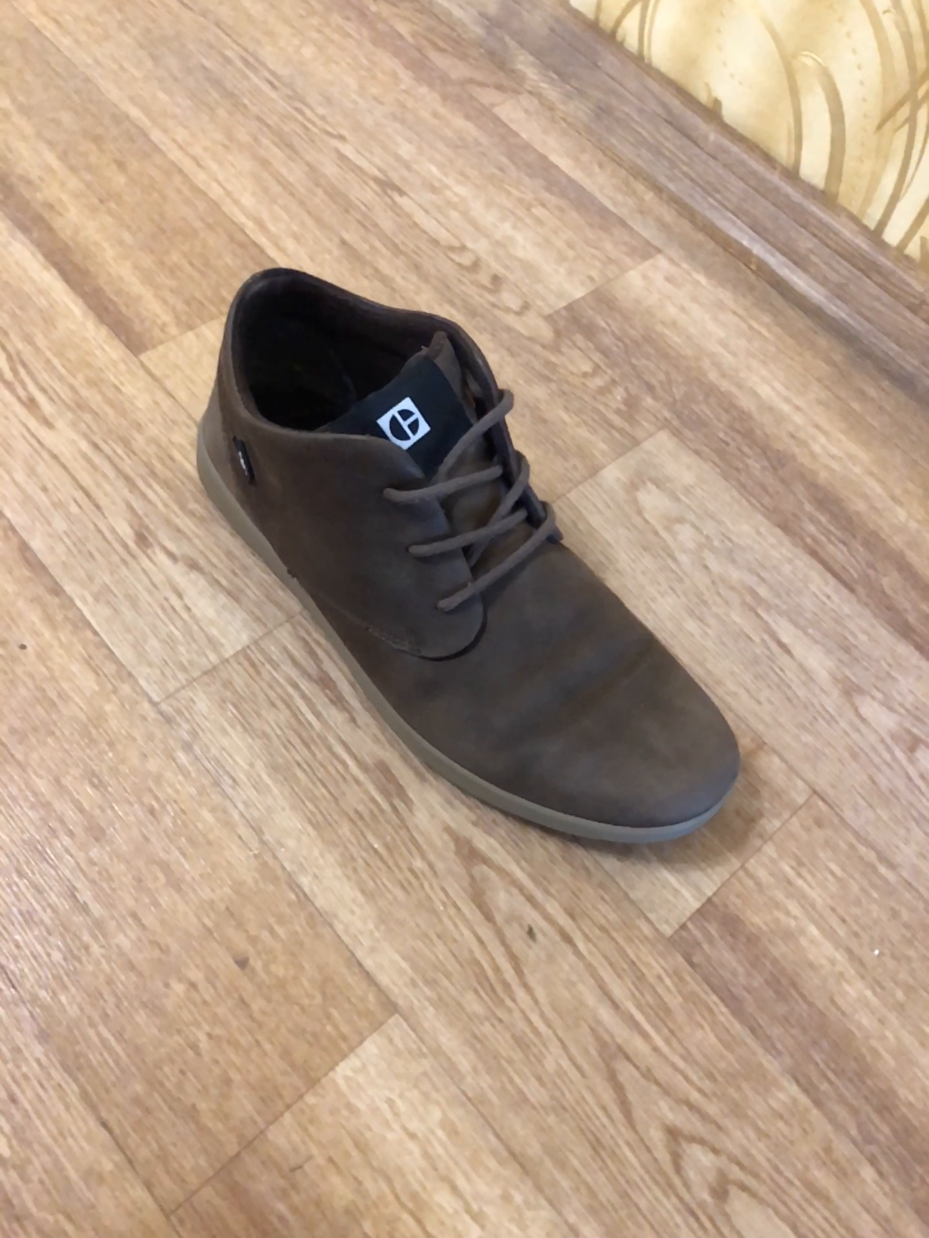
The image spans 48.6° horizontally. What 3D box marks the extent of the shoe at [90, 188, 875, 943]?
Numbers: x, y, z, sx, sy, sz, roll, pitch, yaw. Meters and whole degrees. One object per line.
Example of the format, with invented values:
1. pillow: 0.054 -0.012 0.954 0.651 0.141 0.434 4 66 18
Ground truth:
1. shoe: -0.007 -0.024 0.390 0.270 0.110 0.100 42 62 15
